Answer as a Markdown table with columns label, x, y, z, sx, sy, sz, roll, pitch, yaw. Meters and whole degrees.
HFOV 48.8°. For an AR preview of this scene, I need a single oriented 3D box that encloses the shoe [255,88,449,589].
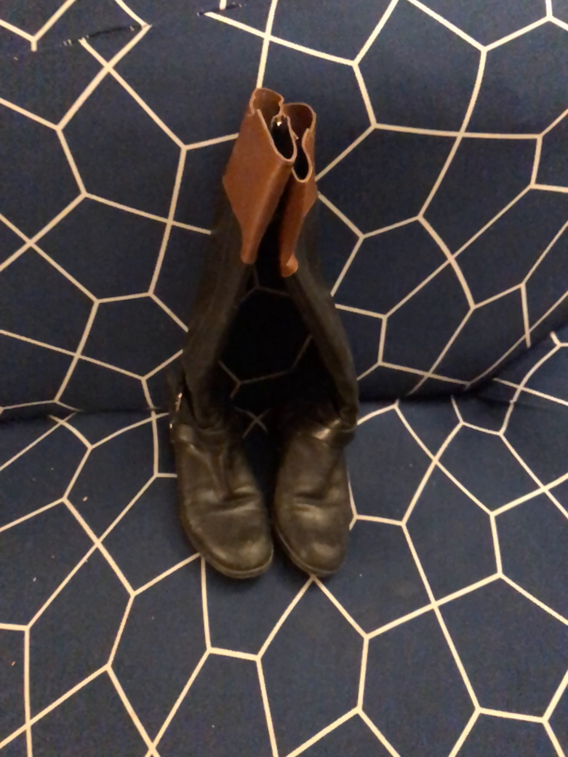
| label | x | y | z | sx | sy | sz | roll | pitch | yaw |
| --- | --- | --- | --- | --- | --- | --- | --- | --- | --- |
| shoe | 0.034 | -0.014 | 0.564 | 0.100 | 0.378 | 0.252 | 3 | 48 | -1 |

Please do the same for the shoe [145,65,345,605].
| label | x | y | z | sx | sy | sz | roll | pitch | yaw |
| --- | --- | --- | --- | --- | --- | --- | --- | --- | --- |
| shoe | -0.057 | -0.017 | 0.588 | 0.110 | 0.427 | 0.272 | -2 | 46 | -9 |
